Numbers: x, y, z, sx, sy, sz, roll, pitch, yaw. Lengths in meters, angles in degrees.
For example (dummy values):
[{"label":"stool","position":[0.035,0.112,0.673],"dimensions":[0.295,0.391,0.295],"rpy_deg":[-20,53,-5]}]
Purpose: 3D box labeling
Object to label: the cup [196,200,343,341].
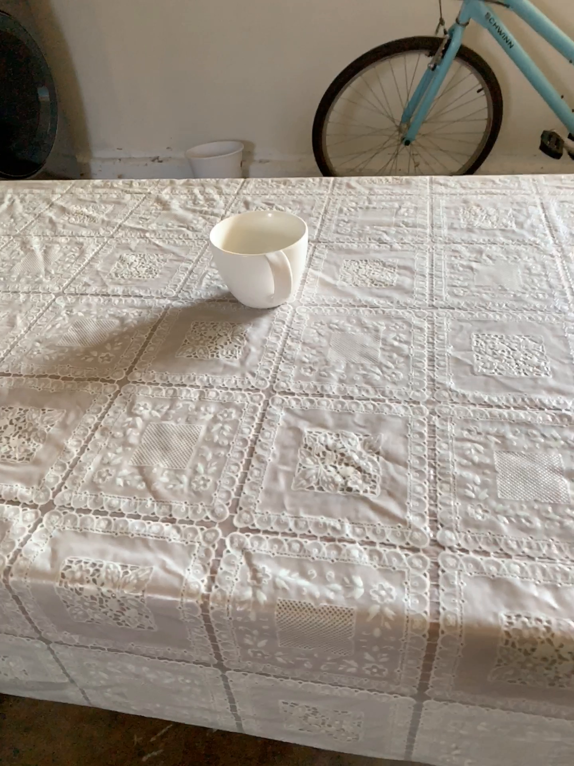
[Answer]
[{"label":"cup","position":[-0.020,-0.125,0.624],"dimensions":[0.100,0.070,0.141],"rpy_deg":[-20,42,-17]}]
